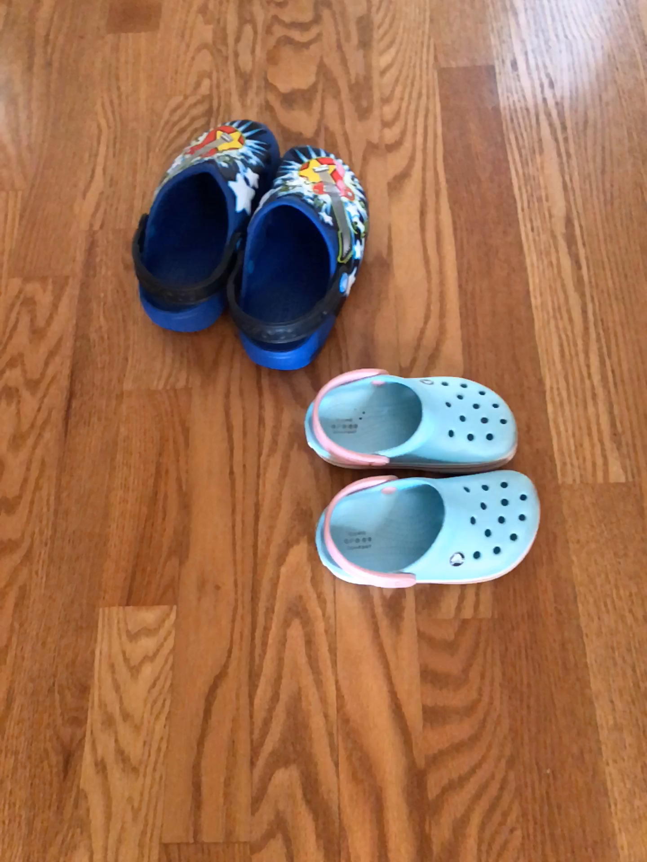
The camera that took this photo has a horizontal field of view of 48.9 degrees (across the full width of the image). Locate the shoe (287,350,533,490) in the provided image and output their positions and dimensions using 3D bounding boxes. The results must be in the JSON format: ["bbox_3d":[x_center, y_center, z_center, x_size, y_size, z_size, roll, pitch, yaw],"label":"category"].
[{"bbox_3d":[0.063,-0.009,0.536,0.170,0.050,0.090,1,65,4],"label":"shoe"}]

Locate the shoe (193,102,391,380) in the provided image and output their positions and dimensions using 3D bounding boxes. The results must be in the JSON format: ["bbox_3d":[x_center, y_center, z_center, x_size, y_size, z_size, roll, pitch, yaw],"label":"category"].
[{"bbox_3d":[-0.018,-0.164,0.599,0.110,0.070,0.220,10,66,8],"label":"shoe"}]

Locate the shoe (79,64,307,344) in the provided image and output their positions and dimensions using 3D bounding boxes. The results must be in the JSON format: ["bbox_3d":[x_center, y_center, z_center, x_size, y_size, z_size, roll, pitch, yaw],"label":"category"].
[{"bbox_3d":[-0.102,-0.201,0.616,0.110,0.070,0.230,13,67,10],"label":"shoe"}]

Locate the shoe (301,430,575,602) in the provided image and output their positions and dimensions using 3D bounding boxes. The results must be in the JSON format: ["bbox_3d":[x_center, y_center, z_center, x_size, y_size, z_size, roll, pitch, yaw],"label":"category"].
[{"bbox_3d":[0.075,0.060,0.501,0.170,0.050,0.090,-7,65,1],"label":"shoe"}]
